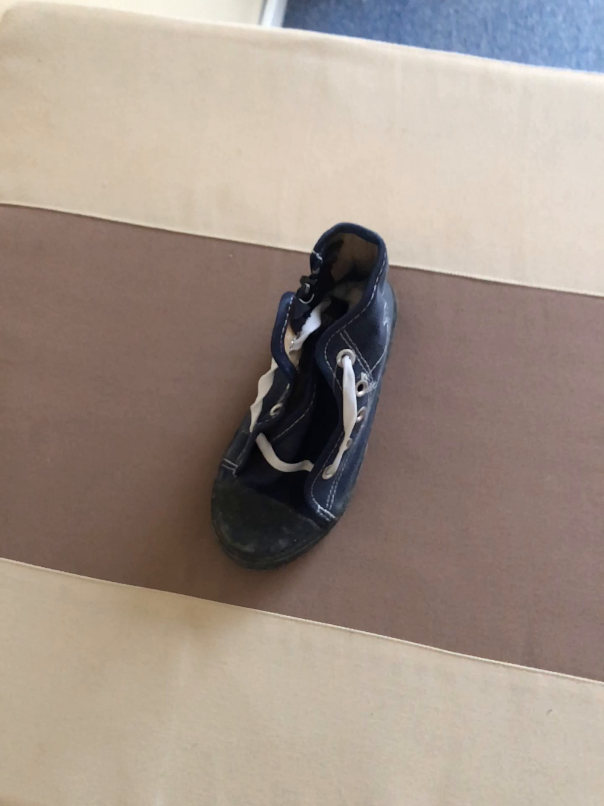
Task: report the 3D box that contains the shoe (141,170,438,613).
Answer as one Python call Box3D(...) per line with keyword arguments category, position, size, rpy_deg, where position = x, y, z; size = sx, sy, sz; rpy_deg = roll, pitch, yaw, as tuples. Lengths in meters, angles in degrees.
Box3D(category="shoe", position=(0.000, -0.004, 0.373), size=(0.090, 0.100, 0.200), rpy_deg=(16, 83, 7))
